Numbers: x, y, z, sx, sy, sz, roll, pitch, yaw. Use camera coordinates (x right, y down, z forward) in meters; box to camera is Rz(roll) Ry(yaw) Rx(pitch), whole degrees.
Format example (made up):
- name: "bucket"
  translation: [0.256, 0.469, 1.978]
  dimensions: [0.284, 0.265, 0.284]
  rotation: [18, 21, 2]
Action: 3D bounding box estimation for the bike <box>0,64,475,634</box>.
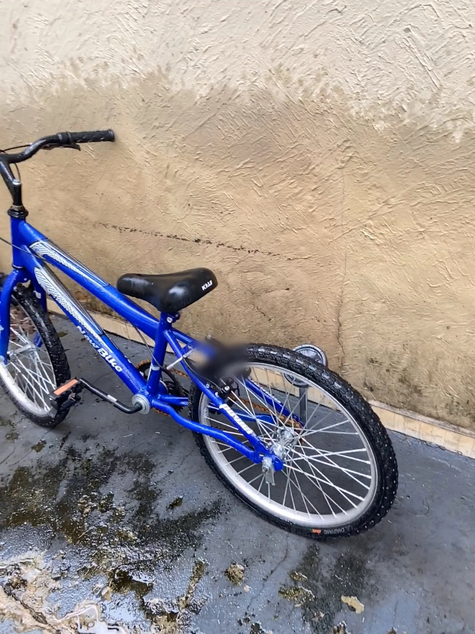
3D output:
- name: "bike"
  translation: [-0.225, -0.052, 1.117]
  dimensions: [1.251, 0.849, 0.545]
  rotation: [16, 41, 28]
